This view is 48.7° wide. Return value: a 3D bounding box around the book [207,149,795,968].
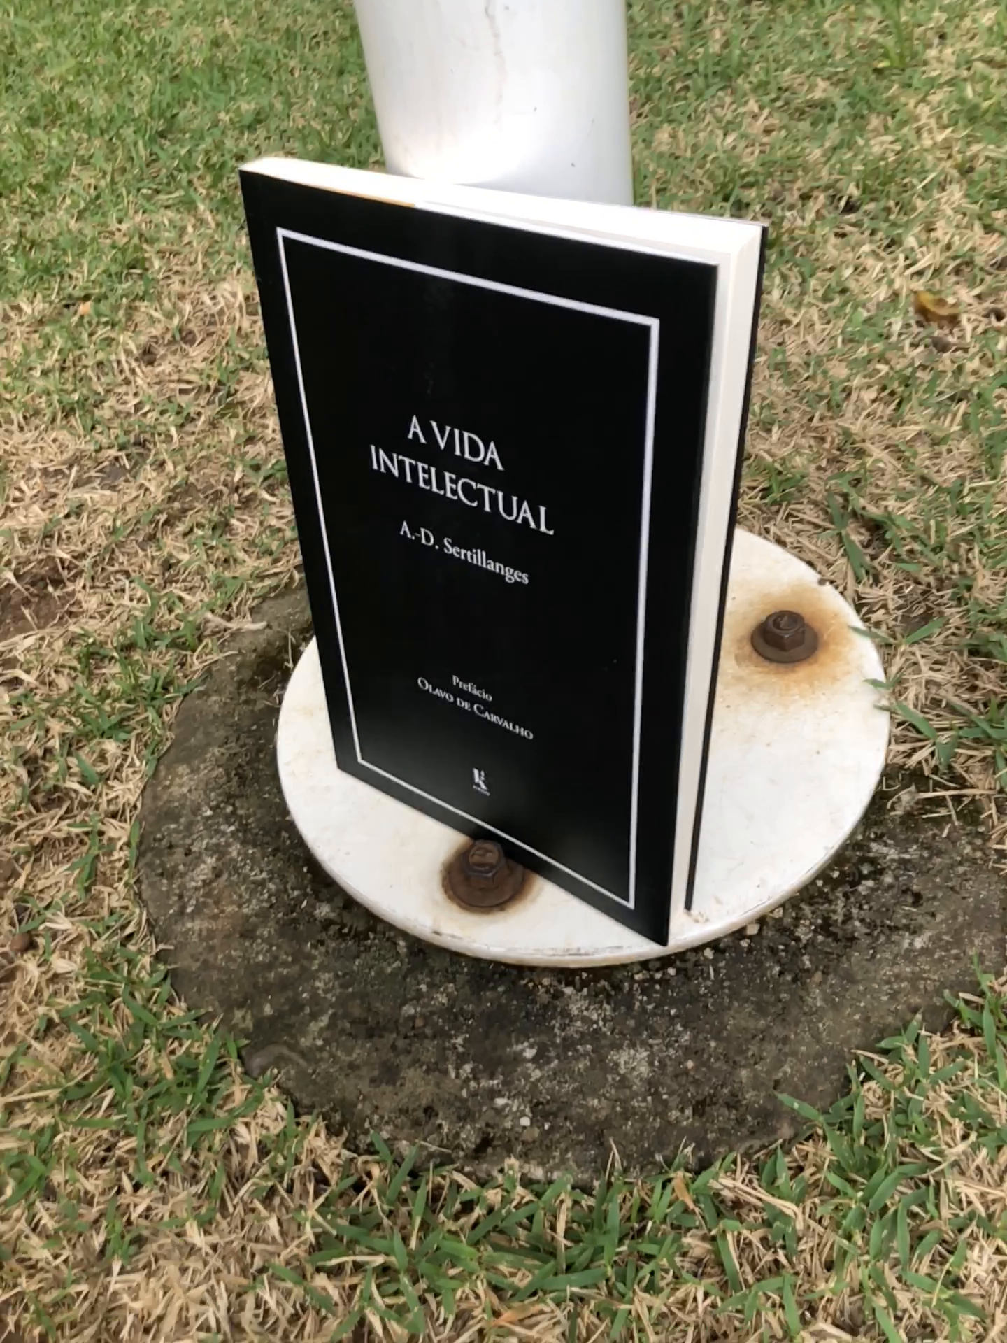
[{"bbox_3d":[-0.004,-0.025,0.296,0.141,0.193,0.025,24,45,31],"label":"book"}]
